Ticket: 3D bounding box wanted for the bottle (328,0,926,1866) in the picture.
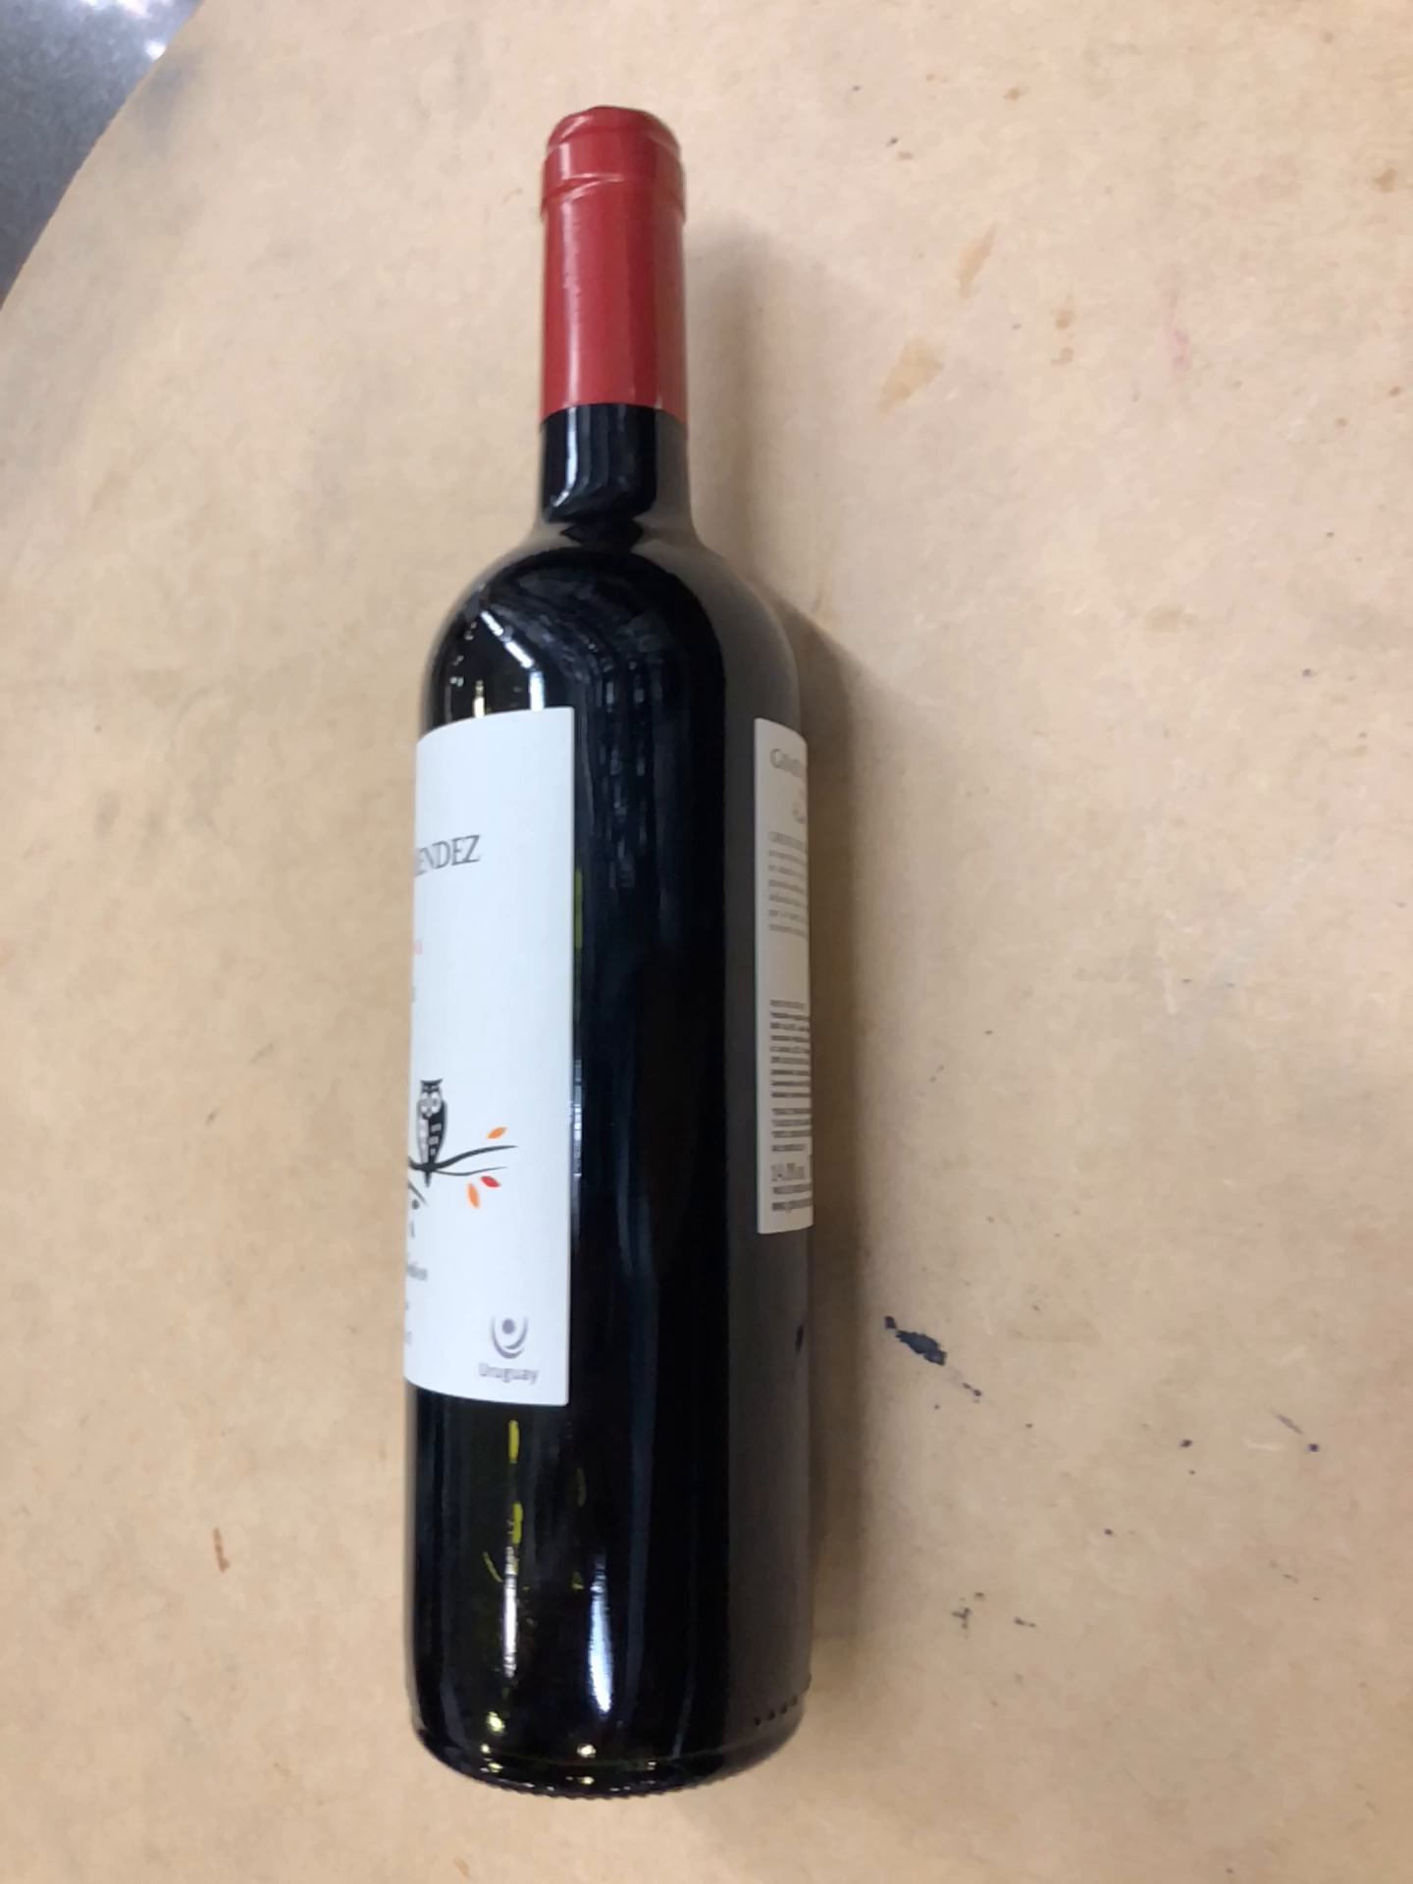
[{"bbox_3d":[-0.014,-0.022,0.278,0.080,0.060,0.310,-4,84,28],"label":"bottle"}]
